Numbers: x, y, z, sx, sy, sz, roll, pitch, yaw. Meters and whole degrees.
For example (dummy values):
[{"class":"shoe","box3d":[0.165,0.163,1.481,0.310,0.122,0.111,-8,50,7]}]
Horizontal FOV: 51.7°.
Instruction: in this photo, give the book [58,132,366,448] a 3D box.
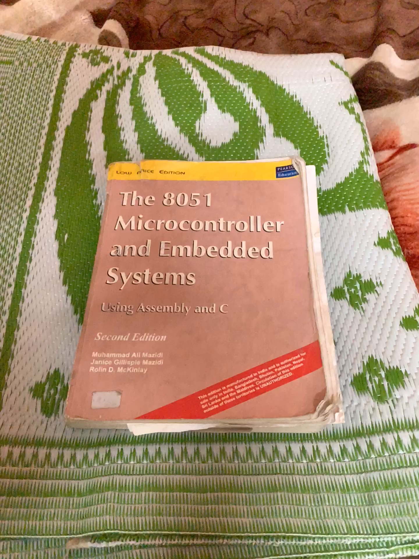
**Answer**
[{"class":"book","box3d":[0.004,-0.005,0.413,0.230,0.050,0.301,-2,62,7]}]
